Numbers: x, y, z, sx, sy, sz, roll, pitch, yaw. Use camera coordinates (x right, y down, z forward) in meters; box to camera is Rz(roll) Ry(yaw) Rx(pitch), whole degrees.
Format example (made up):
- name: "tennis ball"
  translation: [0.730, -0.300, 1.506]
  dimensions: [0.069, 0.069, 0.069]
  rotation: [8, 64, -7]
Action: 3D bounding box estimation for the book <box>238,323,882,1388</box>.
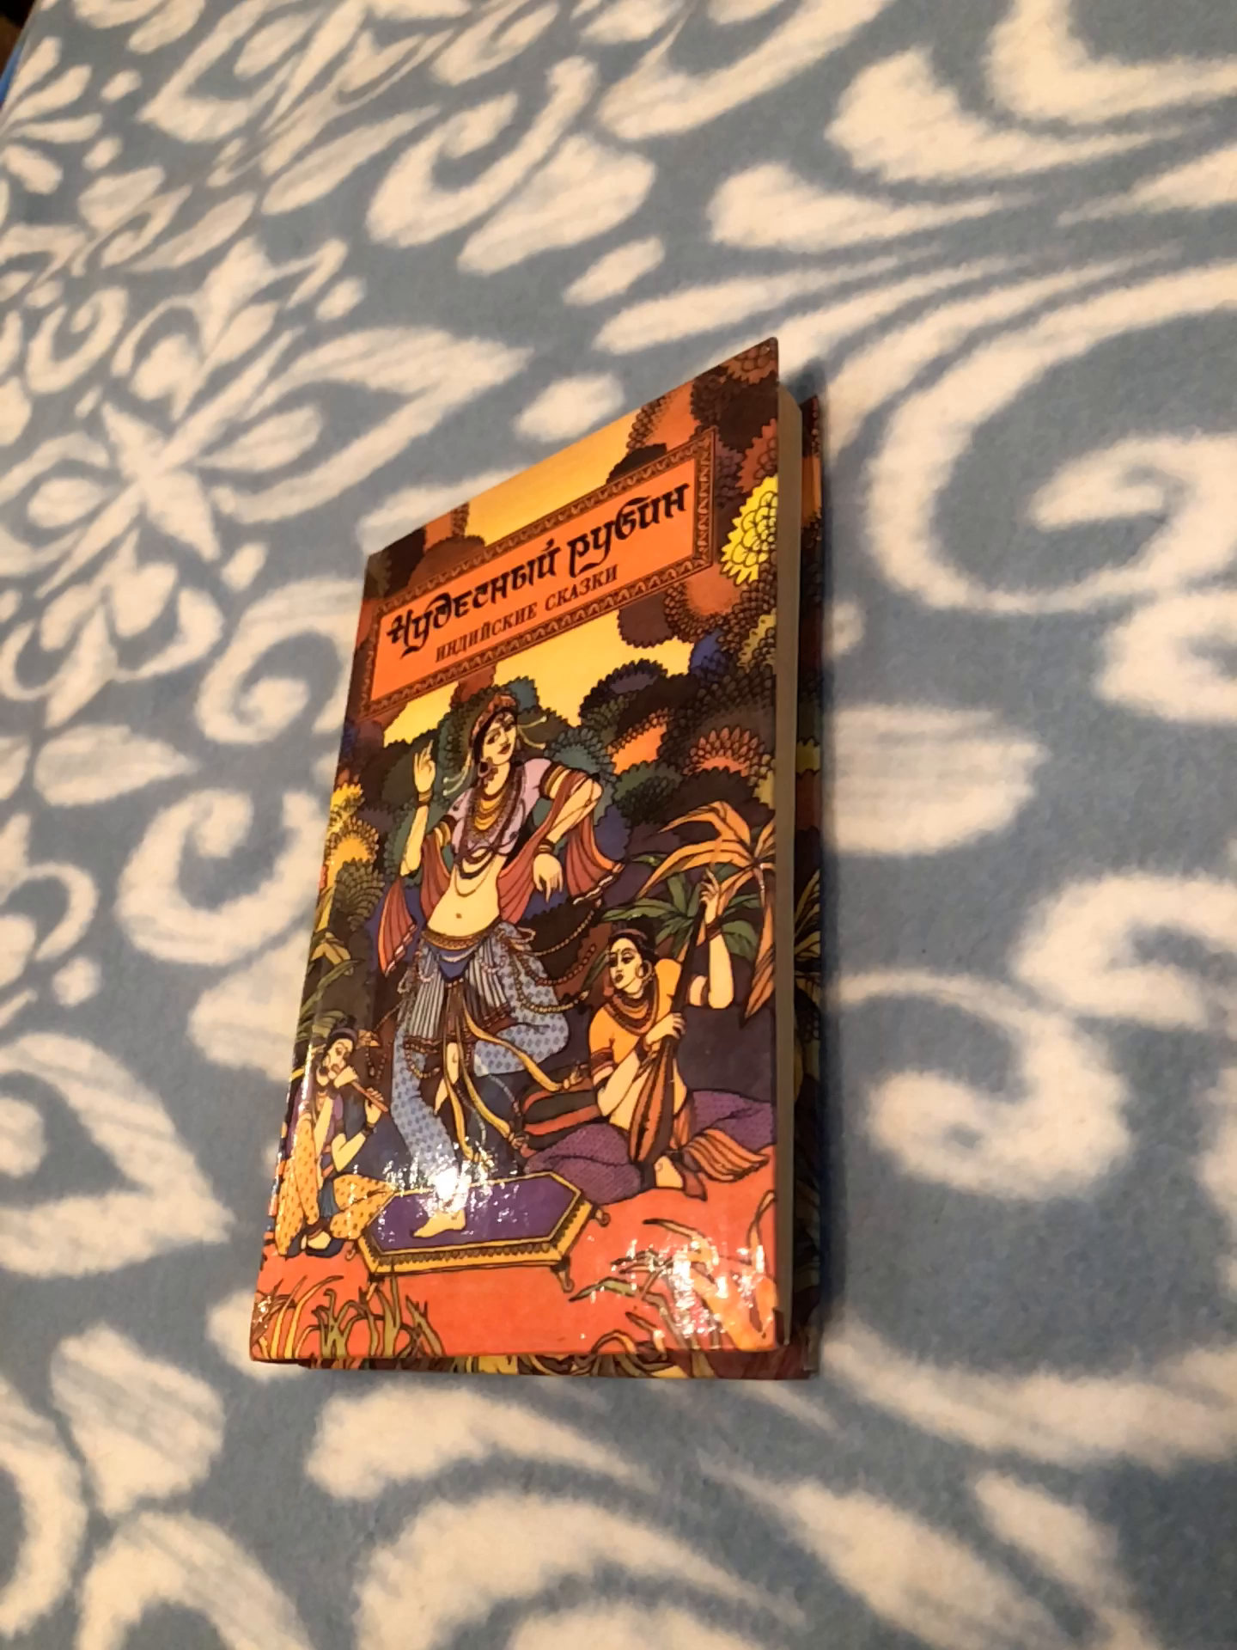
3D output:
- name: "book"
  translation: [-0.014, 0.009, 0.303]
  dimensions: [0.140, 0.027, 0.210]
  rotation: [-17, 59, 37]
